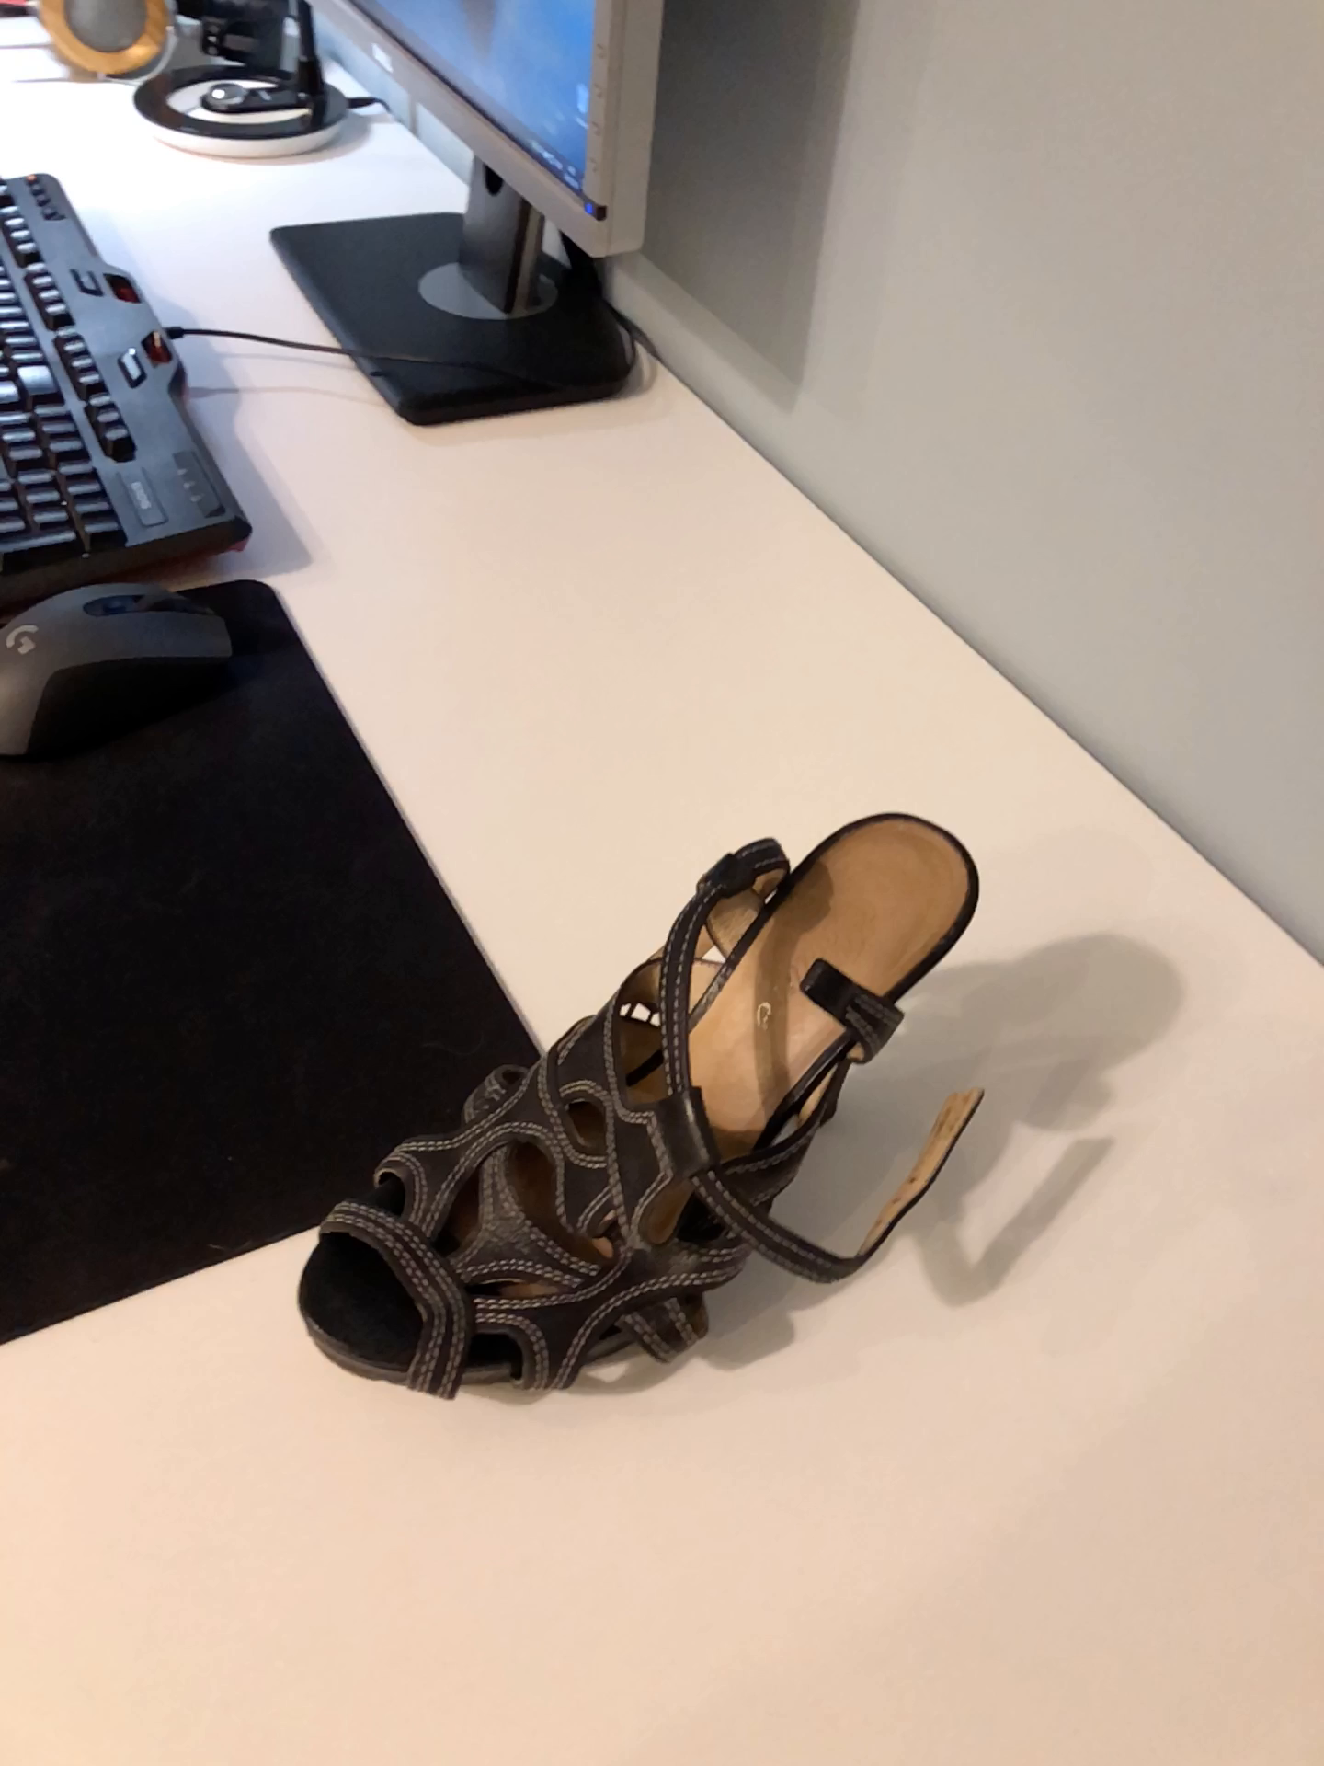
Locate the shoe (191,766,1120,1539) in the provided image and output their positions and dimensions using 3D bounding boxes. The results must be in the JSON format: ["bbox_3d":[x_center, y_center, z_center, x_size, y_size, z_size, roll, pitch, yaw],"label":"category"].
[{"bbox_3d":[0.000,0.065,0.410,0.221,0.099,0.100,-20,50,-25],"label":"shoe"}]
